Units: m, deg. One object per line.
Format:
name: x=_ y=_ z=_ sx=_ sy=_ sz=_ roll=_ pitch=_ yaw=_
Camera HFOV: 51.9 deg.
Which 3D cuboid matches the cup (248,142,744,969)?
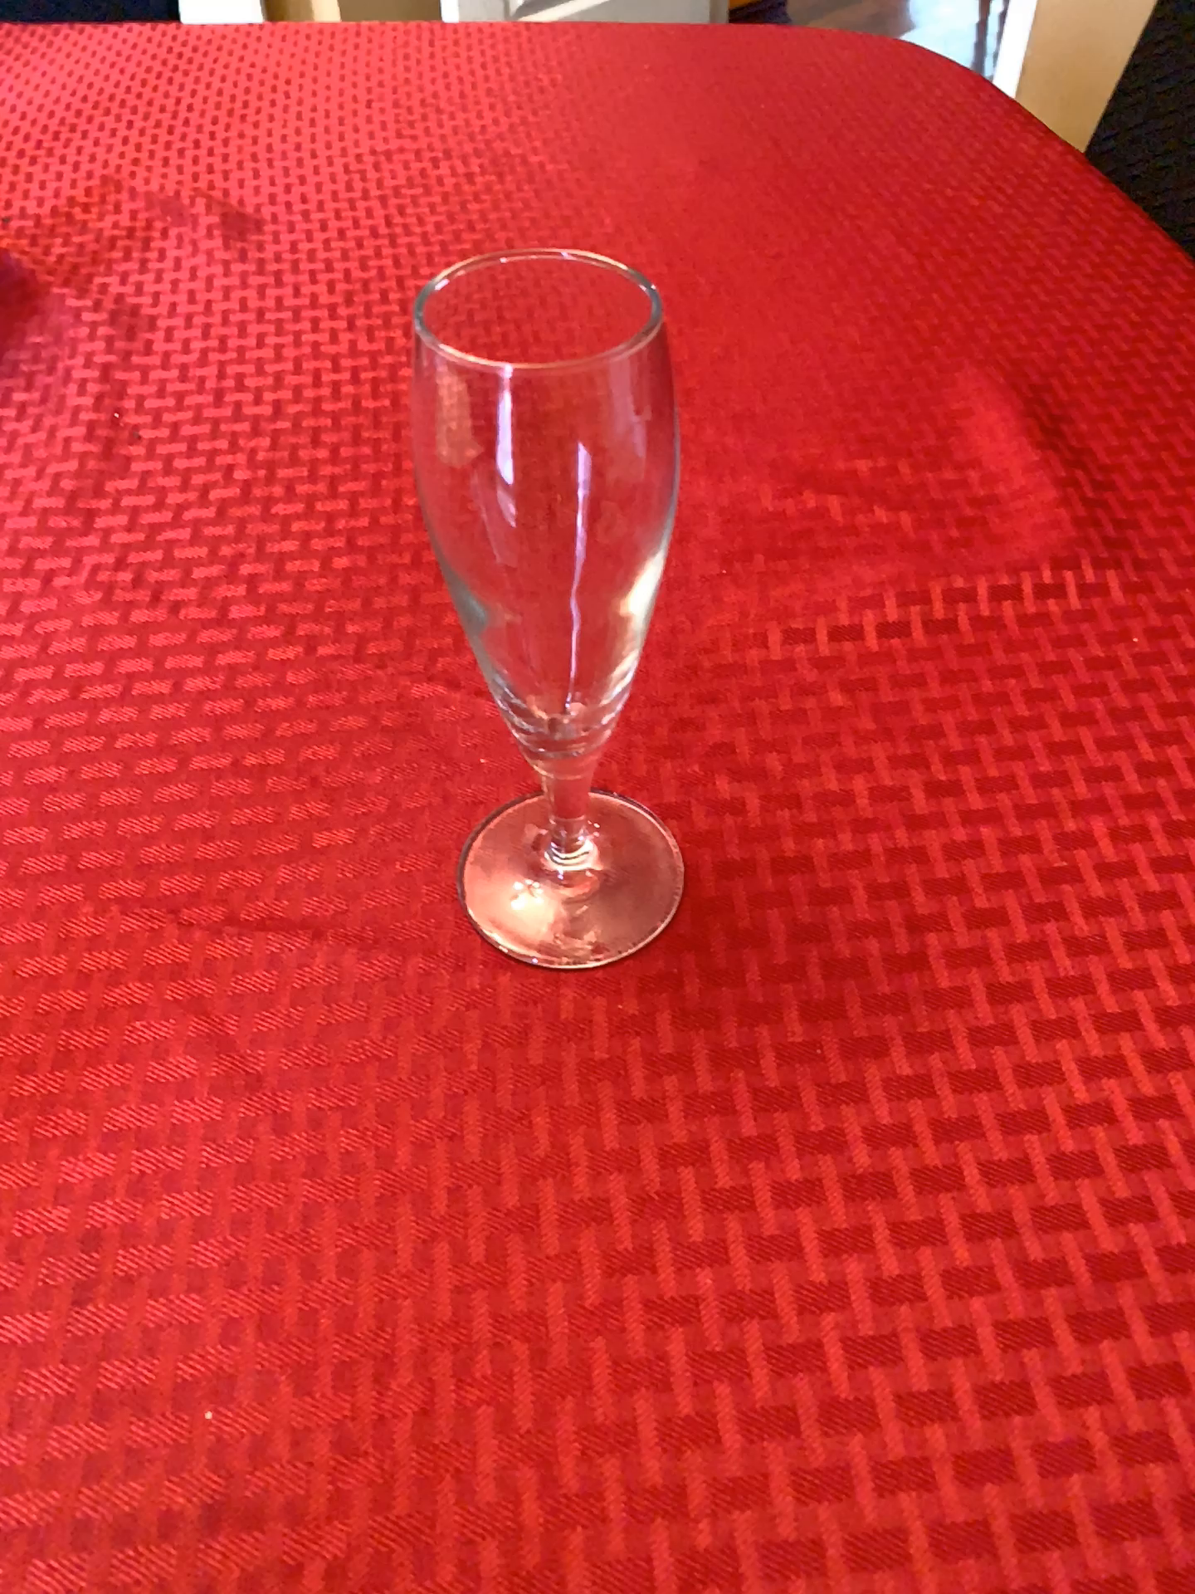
cup: x=-0.014 y=-0.044 z=0.291 sx=0.080 sy=0.179 sz=0.080 roll=0 pitch=50 yaw=0
